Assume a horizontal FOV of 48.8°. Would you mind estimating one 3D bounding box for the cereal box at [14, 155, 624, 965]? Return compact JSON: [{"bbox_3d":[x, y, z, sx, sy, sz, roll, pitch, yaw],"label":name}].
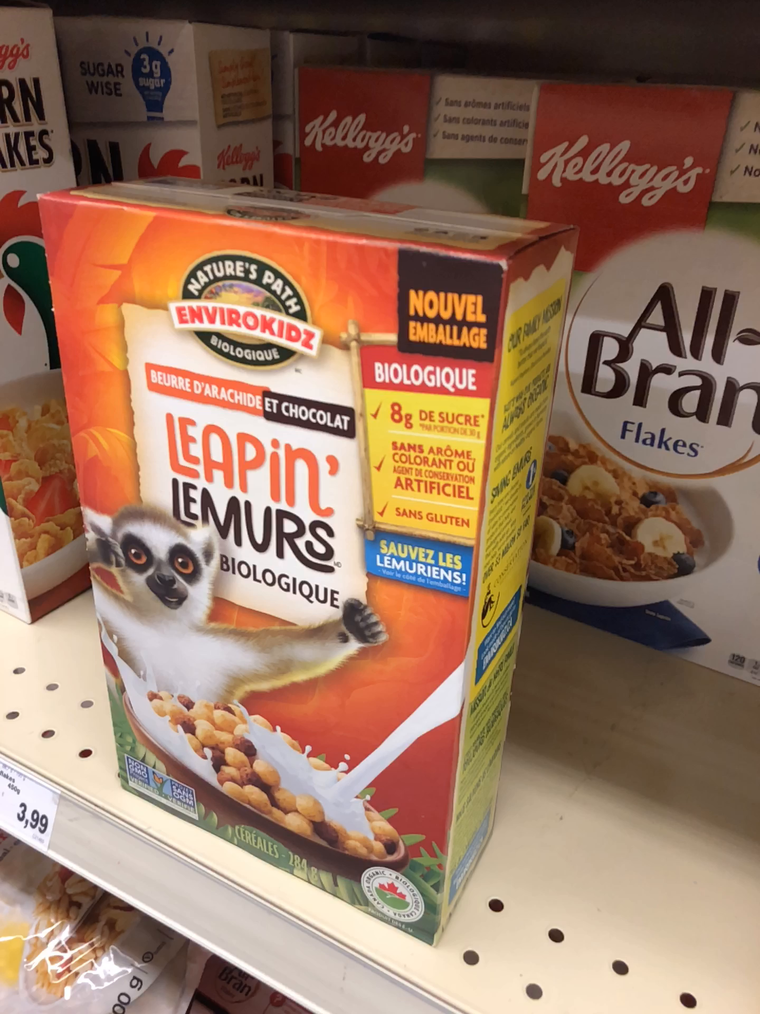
[{"bbox_3d":[-0.024,0.019,0.310,0.170,0.258,0.070,16,31,24],"label":"cereal box"}]
